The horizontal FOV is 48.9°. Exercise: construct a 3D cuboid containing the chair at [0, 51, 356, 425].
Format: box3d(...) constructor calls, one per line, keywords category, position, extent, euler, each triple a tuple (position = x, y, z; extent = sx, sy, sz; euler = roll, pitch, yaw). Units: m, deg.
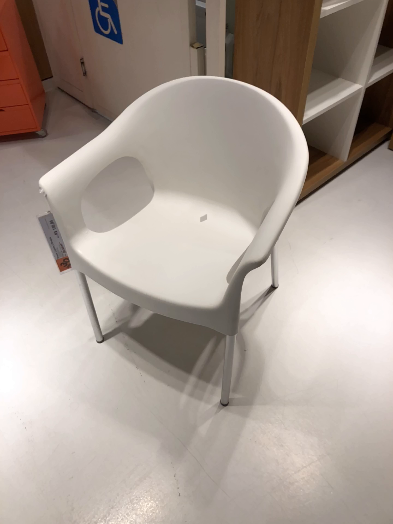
box3d(category="chair", position=(-0.009, -0.081, 1.281), extent=(0.611, 0.735, 0.613), euler=(22, 51, 22))
